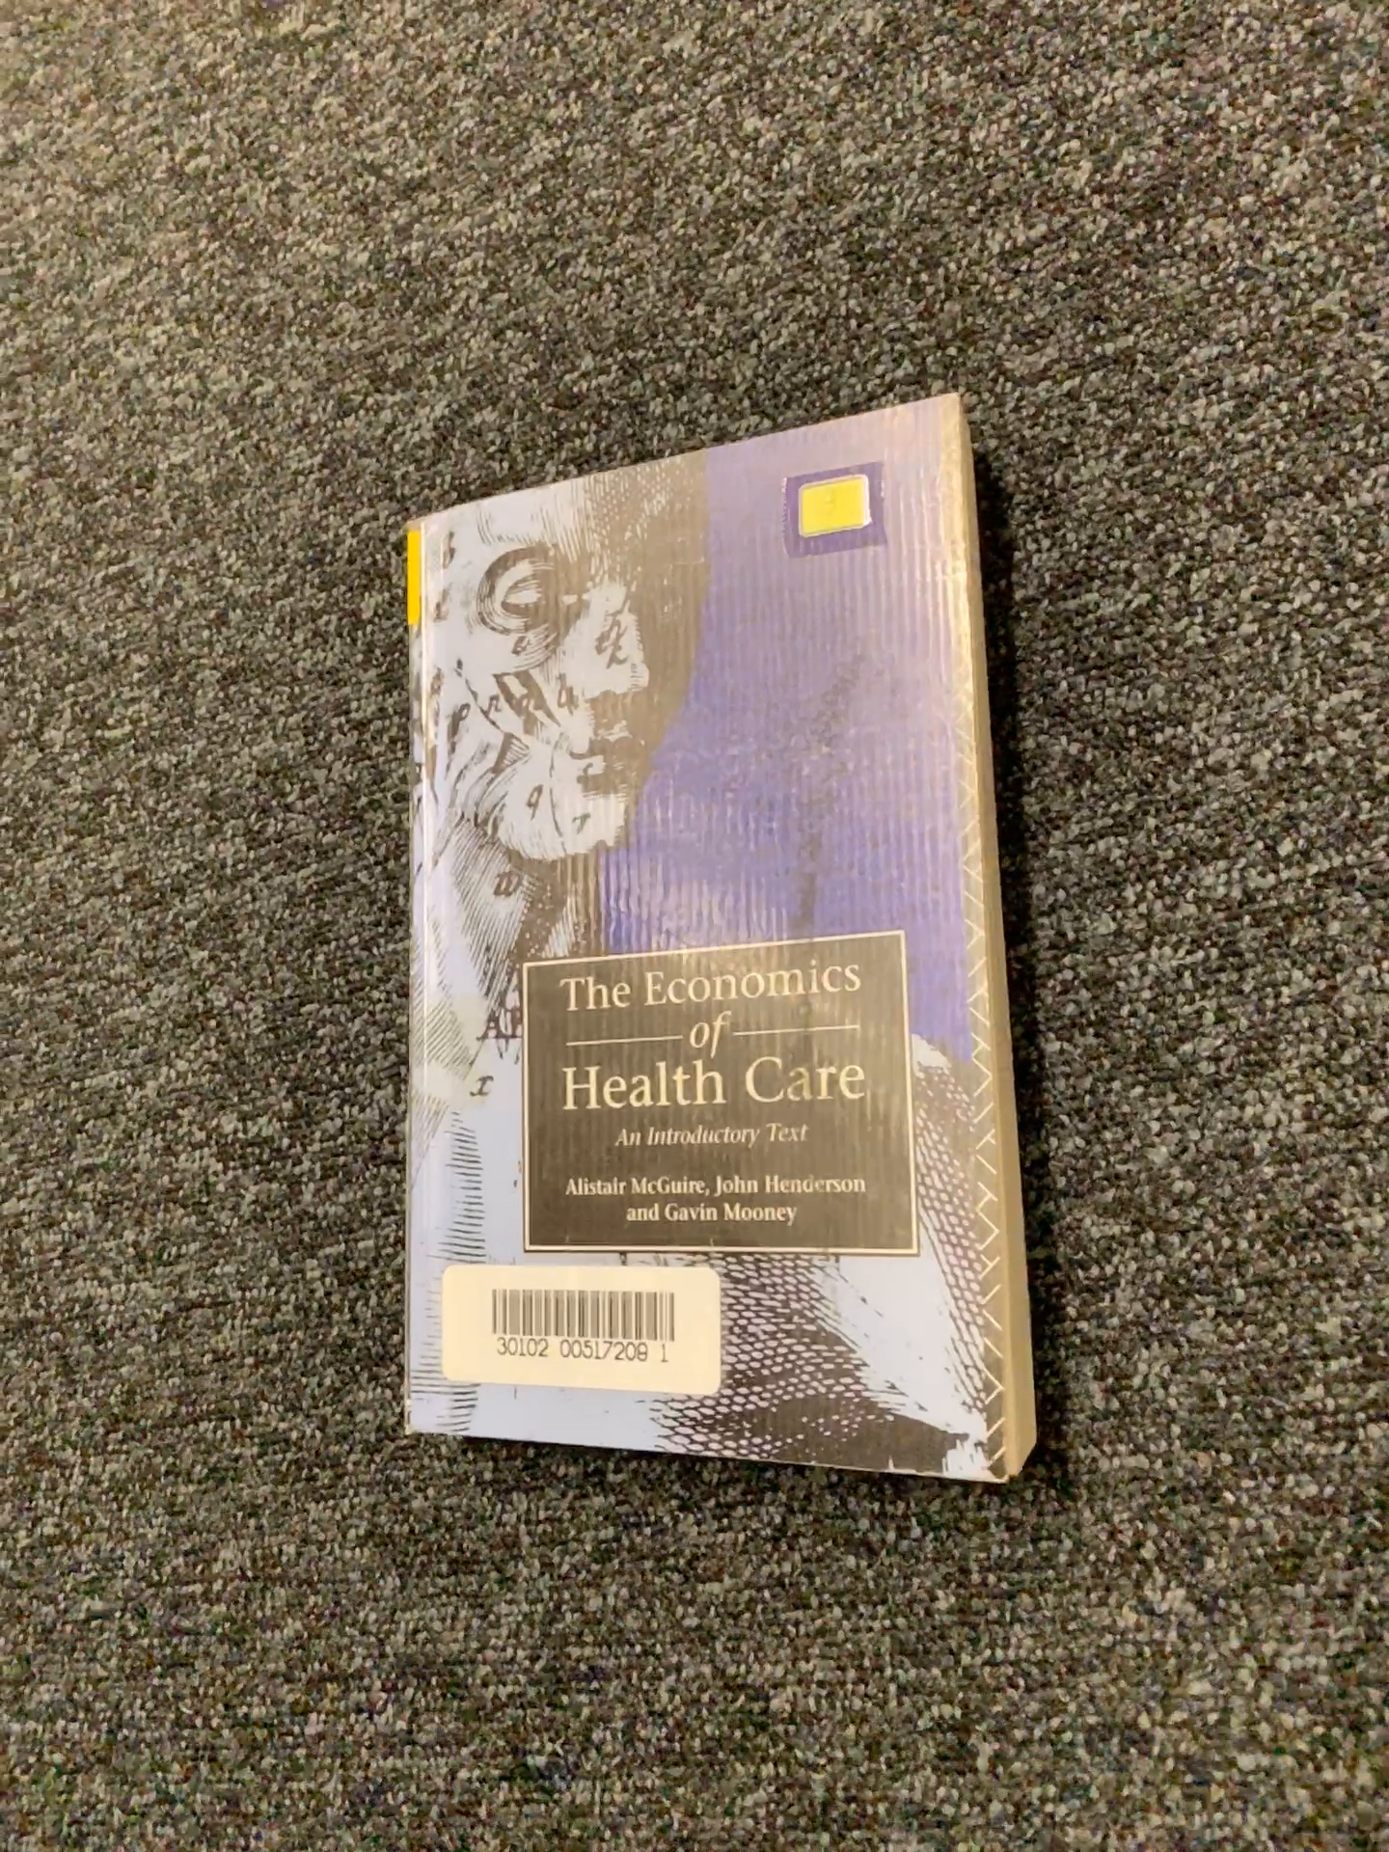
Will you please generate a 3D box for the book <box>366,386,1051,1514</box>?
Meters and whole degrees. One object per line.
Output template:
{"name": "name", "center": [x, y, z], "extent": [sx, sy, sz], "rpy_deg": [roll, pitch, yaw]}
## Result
{"name": "book", "center": [-0.002, 0.005, 0.300], "extent": [0.136, 0.030, 0.207], "rpy_deg": [-5, 80, 24]}
